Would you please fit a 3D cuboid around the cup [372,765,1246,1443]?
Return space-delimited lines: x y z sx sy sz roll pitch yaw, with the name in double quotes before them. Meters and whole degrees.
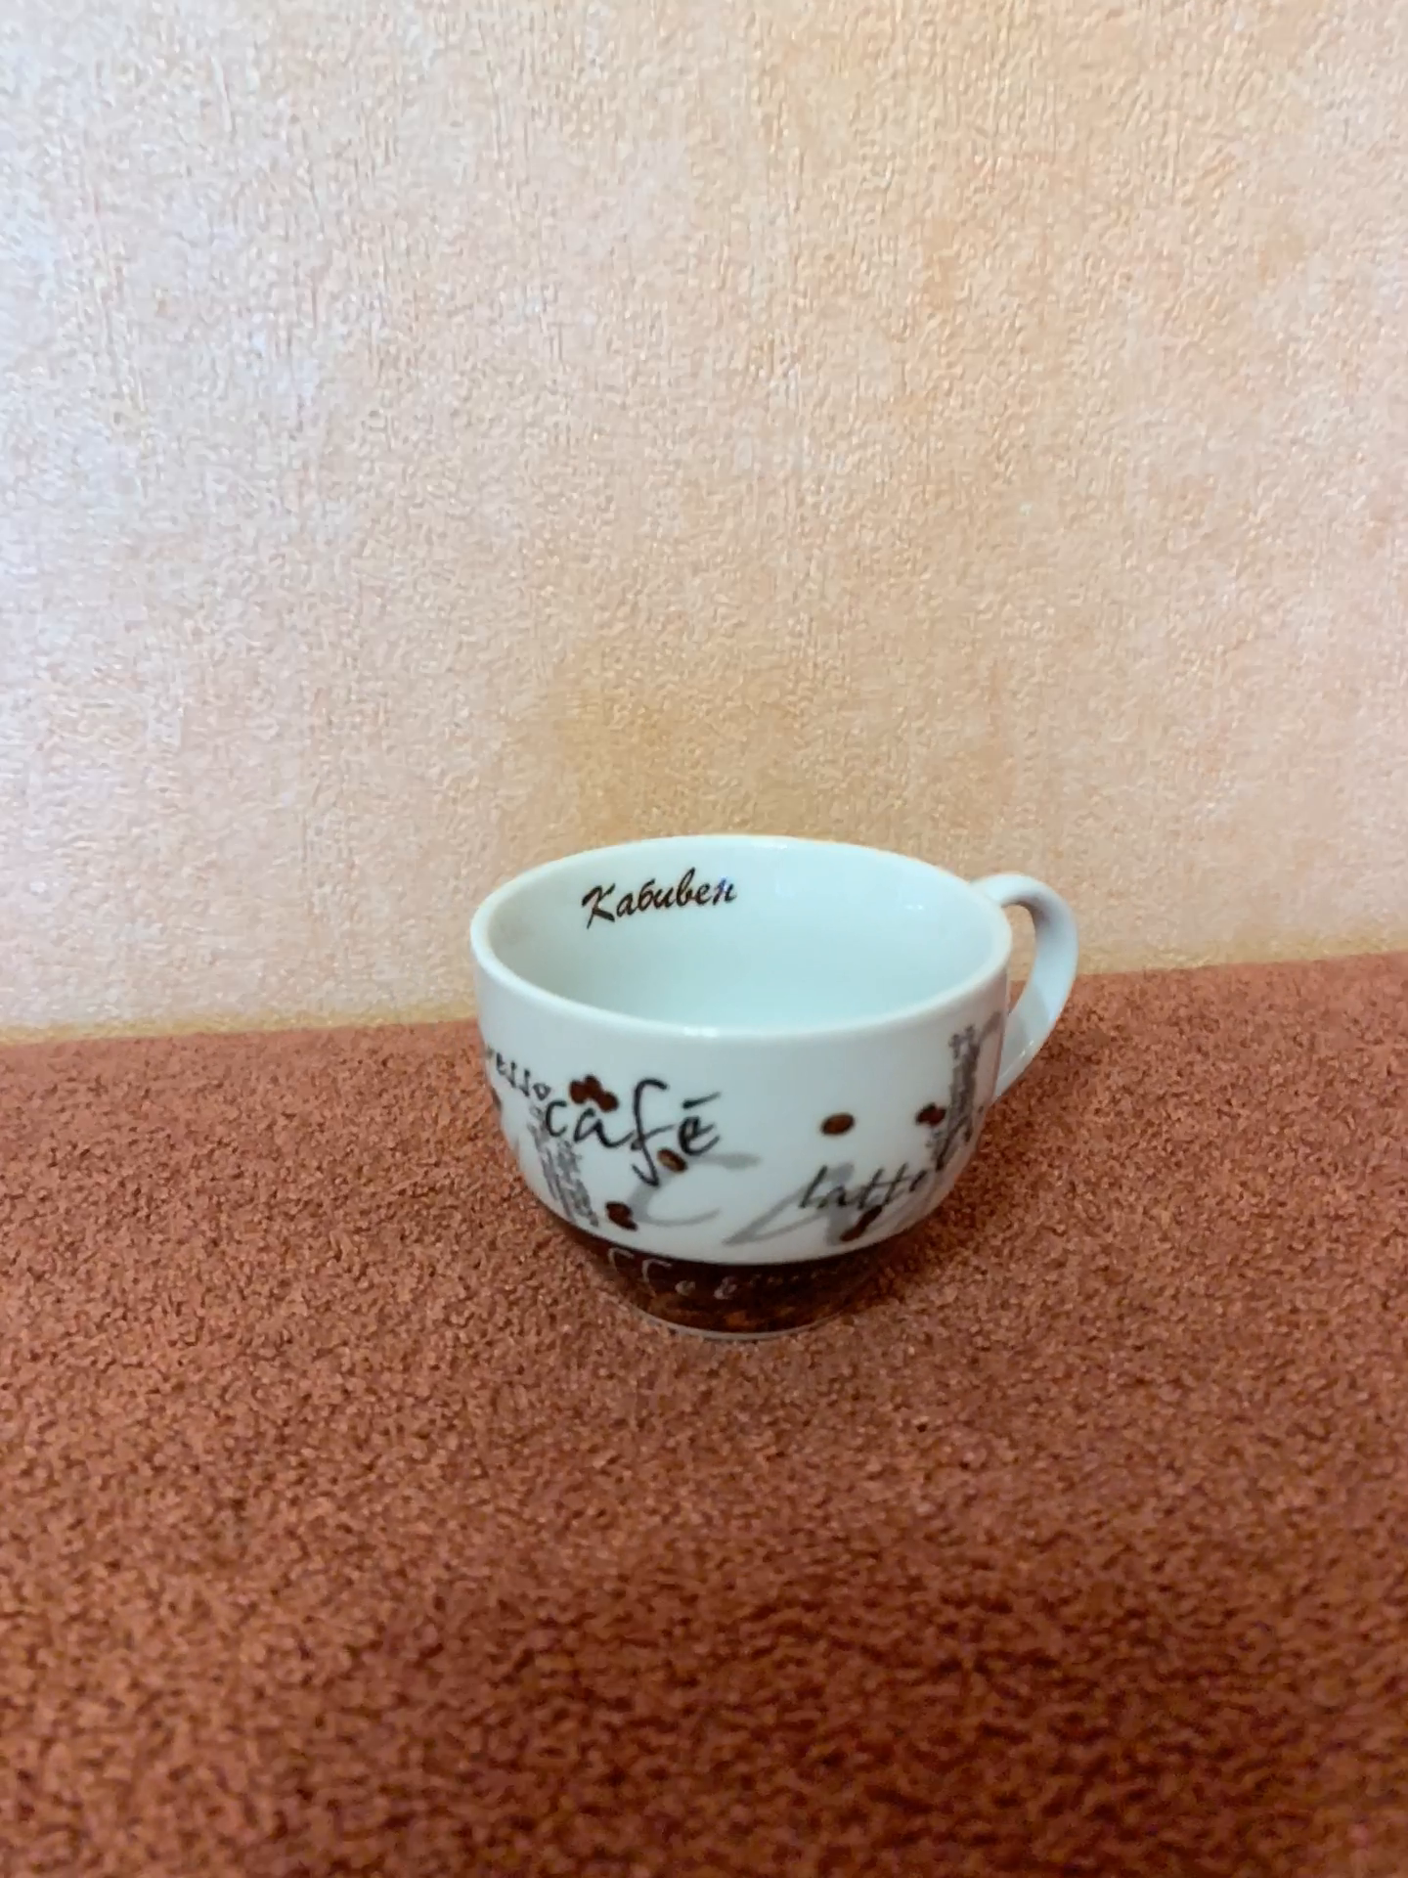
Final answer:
"cup" 0.011 0.012 0.184 0.083 0.040 0.065 -14 26 -27
